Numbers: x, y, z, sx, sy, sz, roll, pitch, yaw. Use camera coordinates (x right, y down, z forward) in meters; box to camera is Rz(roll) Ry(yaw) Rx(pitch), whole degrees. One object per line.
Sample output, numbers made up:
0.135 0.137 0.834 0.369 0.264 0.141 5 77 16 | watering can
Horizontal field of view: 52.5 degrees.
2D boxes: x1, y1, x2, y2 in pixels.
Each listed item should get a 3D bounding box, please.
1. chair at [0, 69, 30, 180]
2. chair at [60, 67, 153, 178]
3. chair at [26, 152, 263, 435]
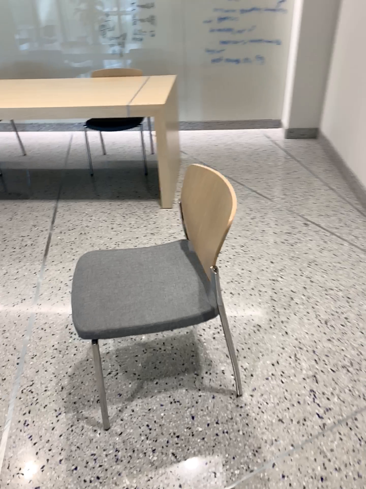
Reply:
-1.815 -1.054 3.255 0.547 0.768 0.596 -2 33 0 | chair
-0.588 -1.025 3.110 0.537 0.748 0.596 0 33 4 | chair
-0.119 0.157 1.352 0.591 0.768 0.542 -8 34 -8 | chair
